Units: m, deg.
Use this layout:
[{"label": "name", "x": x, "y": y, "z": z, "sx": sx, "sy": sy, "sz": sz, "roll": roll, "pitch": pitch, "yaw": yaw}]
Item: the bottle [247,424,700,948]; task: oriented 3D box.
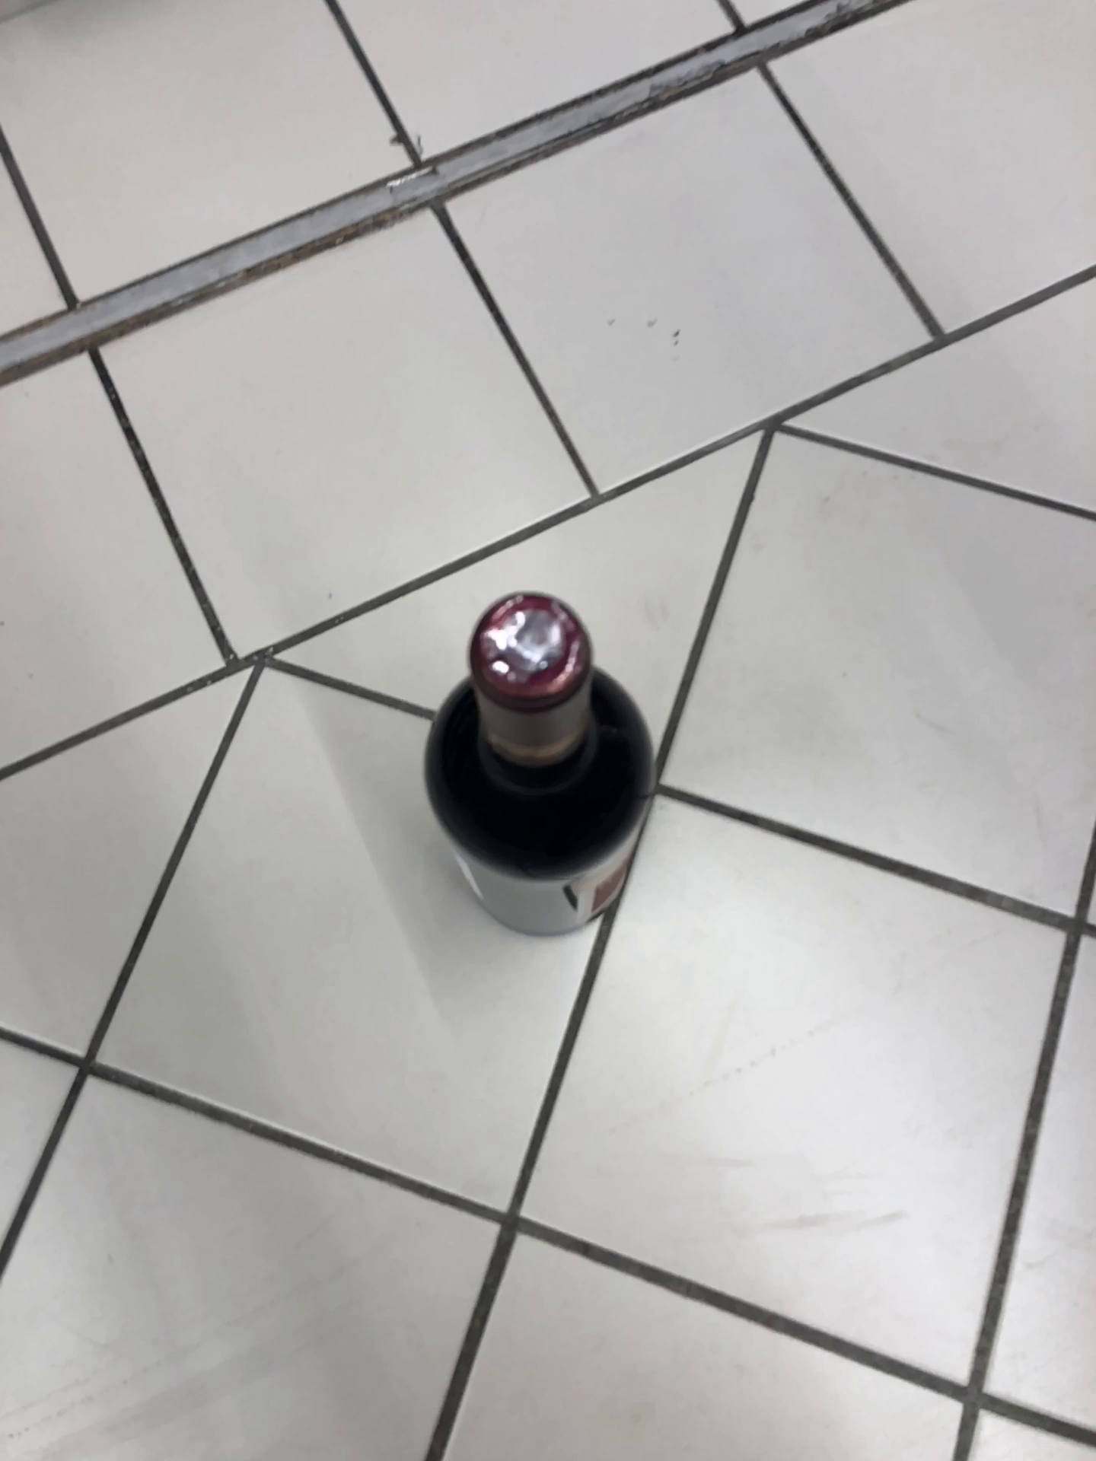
[{"label": "bottle", "x": -0.014, "y": 0.011, "z": 0.406, "sx": 0.100, "sy": 0.270, "sz": 0.100, "roll": 0, "pitch": 75, "yaw": 2}]
